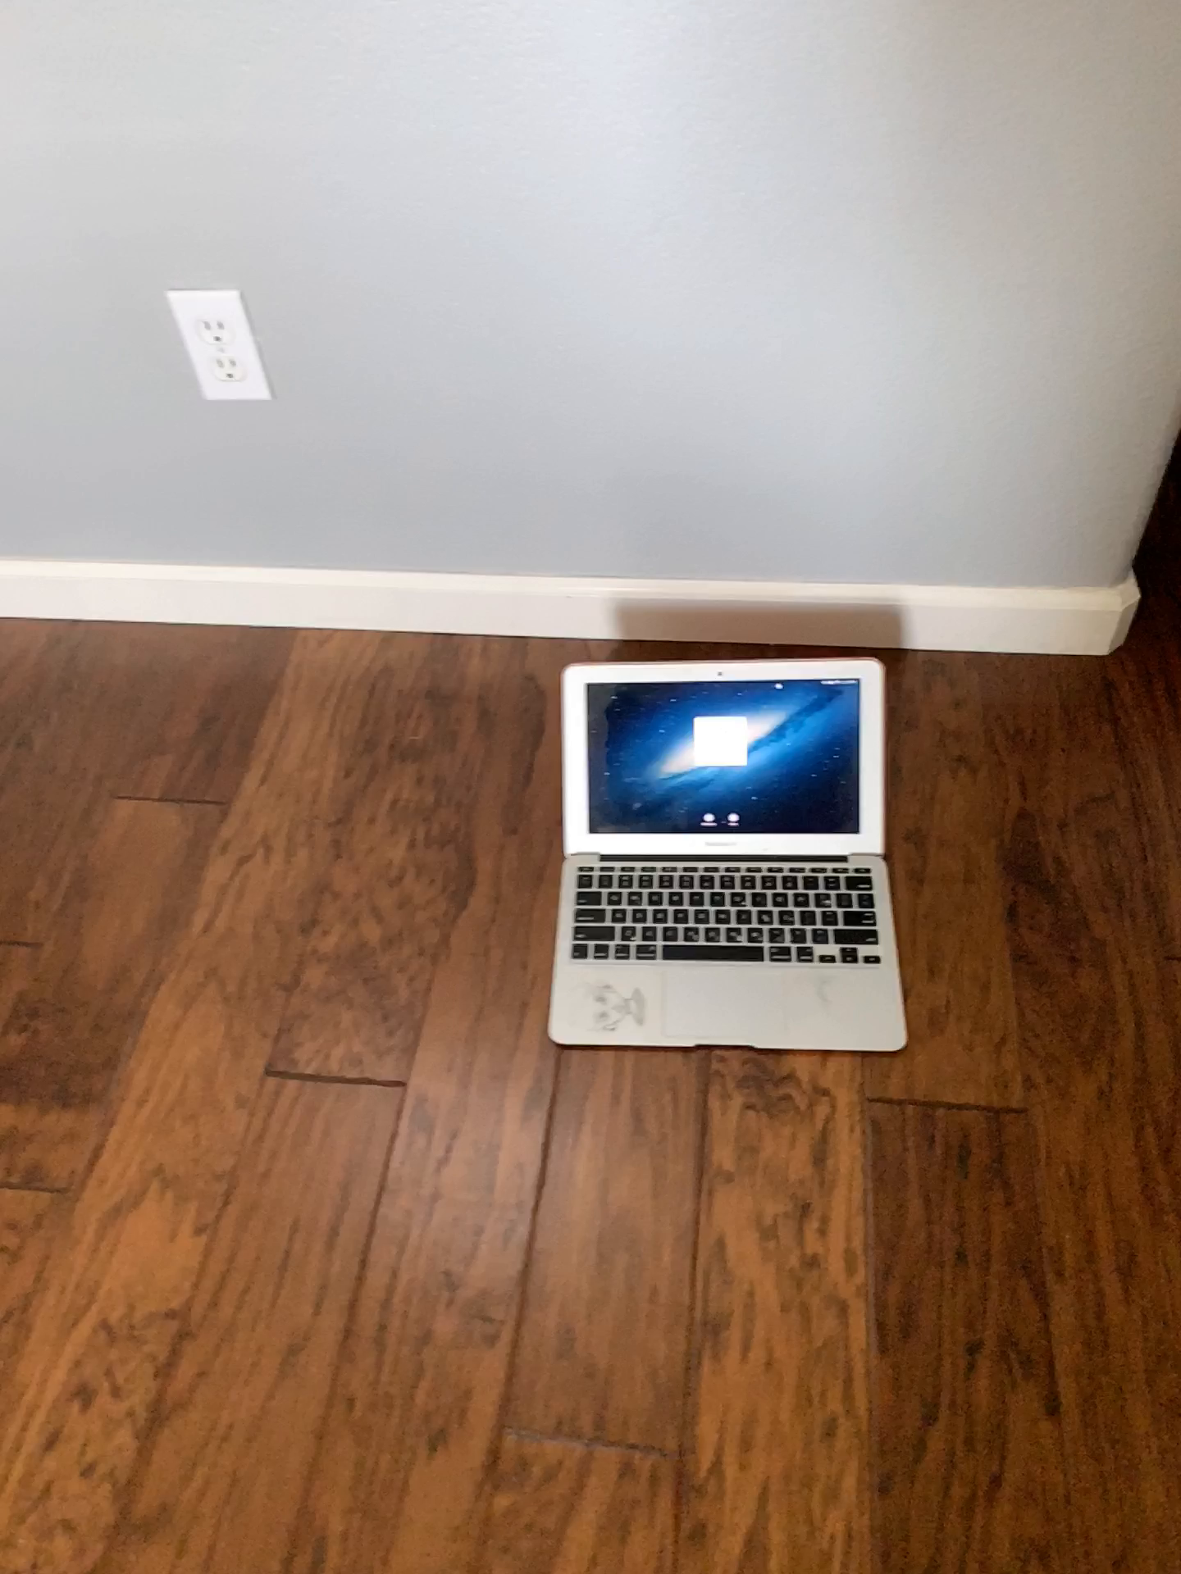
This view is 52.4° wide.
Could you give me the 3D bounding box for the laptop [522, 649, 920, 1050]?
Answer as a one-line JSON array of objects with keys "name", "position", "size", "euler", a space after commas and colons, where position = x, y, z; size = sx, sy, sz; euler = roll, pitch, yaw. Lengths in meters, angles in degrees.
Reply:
[{"name": "laptop", "position": [0.110, 0.045, 1.030], "size": [0.292, 0.117, 0.324], "euler": [0, 52, 7]}]
